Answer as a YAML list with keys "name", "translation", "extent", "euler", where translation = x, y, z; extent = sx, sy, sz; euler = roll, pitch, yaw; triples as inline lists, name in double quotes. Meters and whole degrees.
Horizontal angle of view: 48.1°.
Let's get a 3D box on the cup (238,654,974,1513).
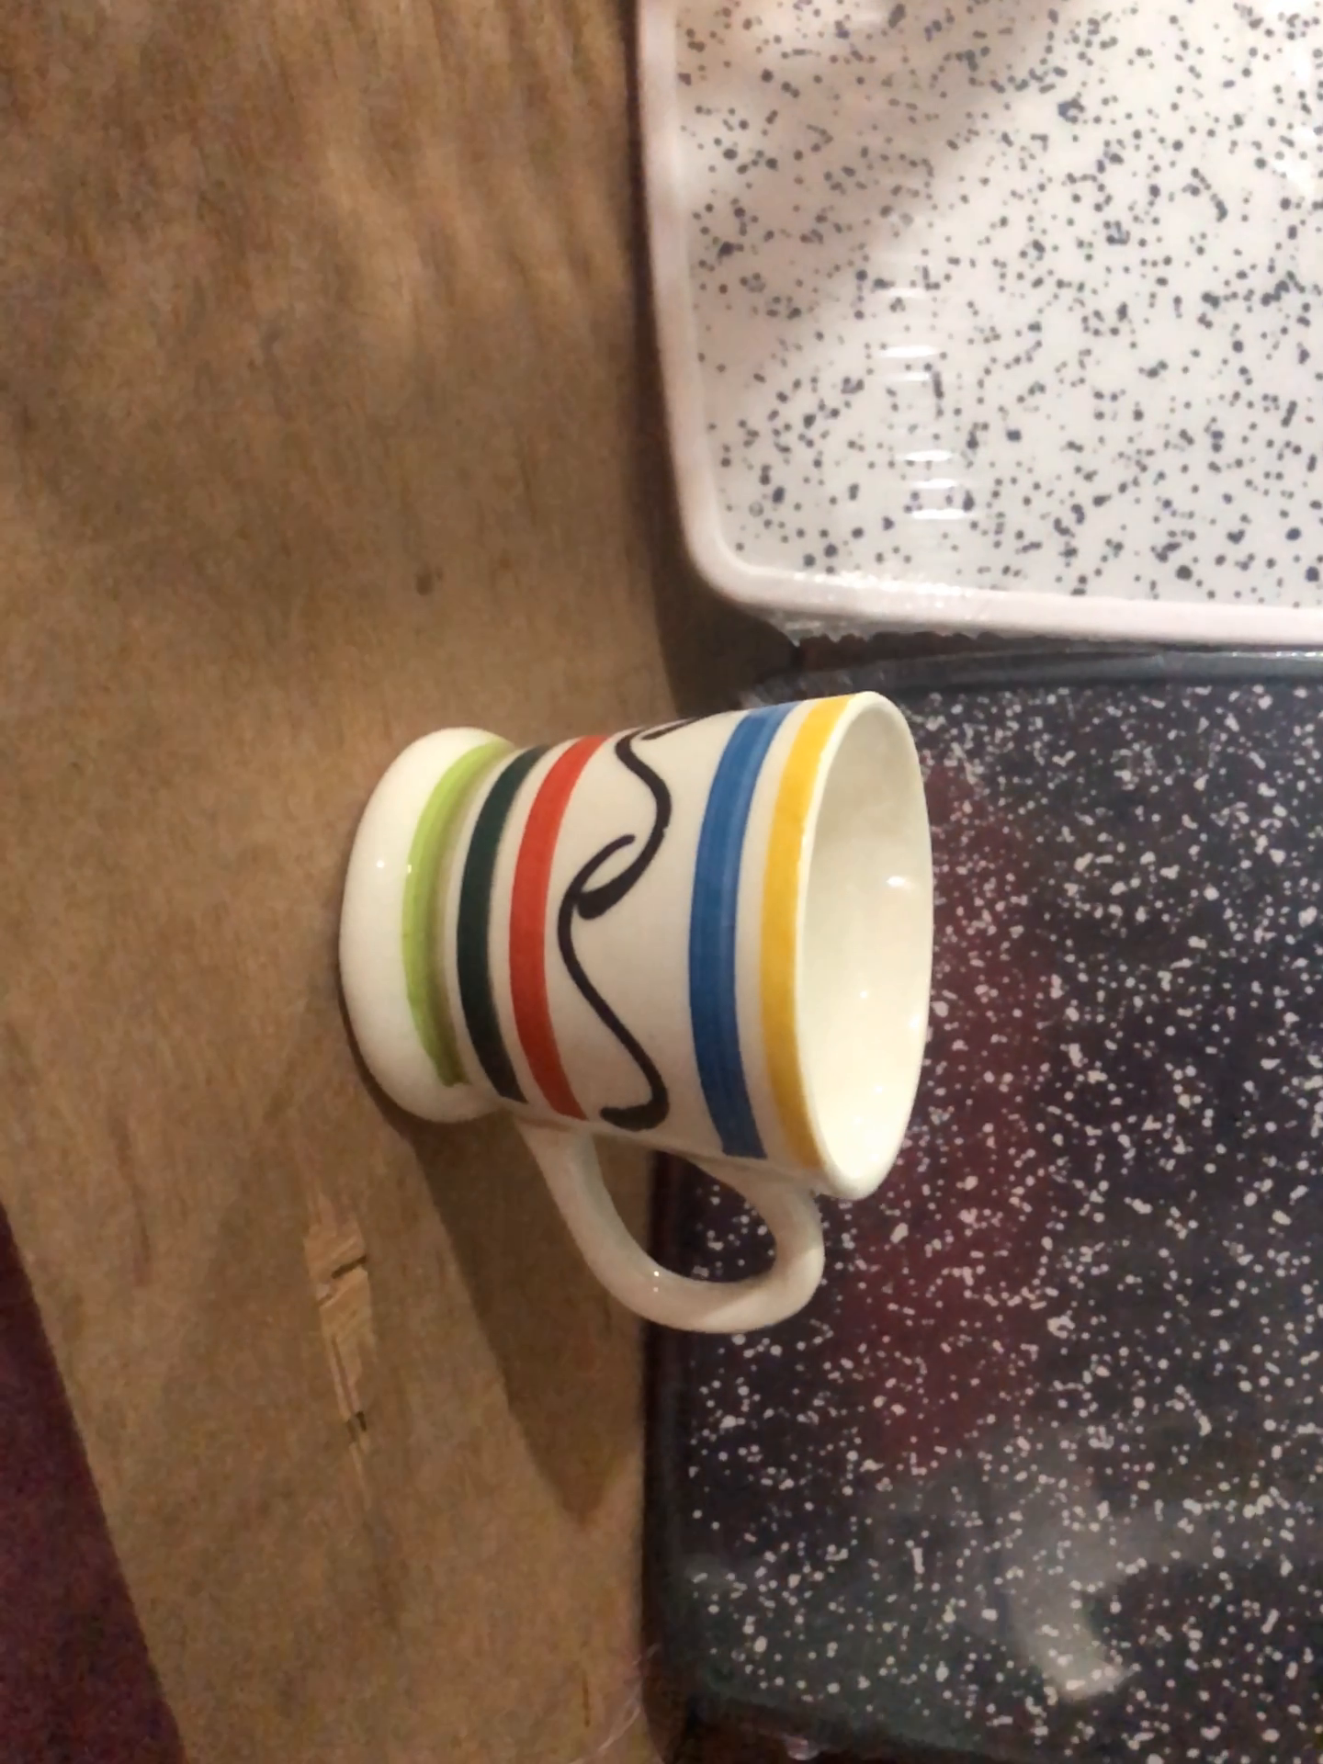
- name: "cup"
  translation: [-0.003, 0.022, 0.215]
  extent: [0.060, 0.079, 0.100]
  euler: [-31, 119, -63]
